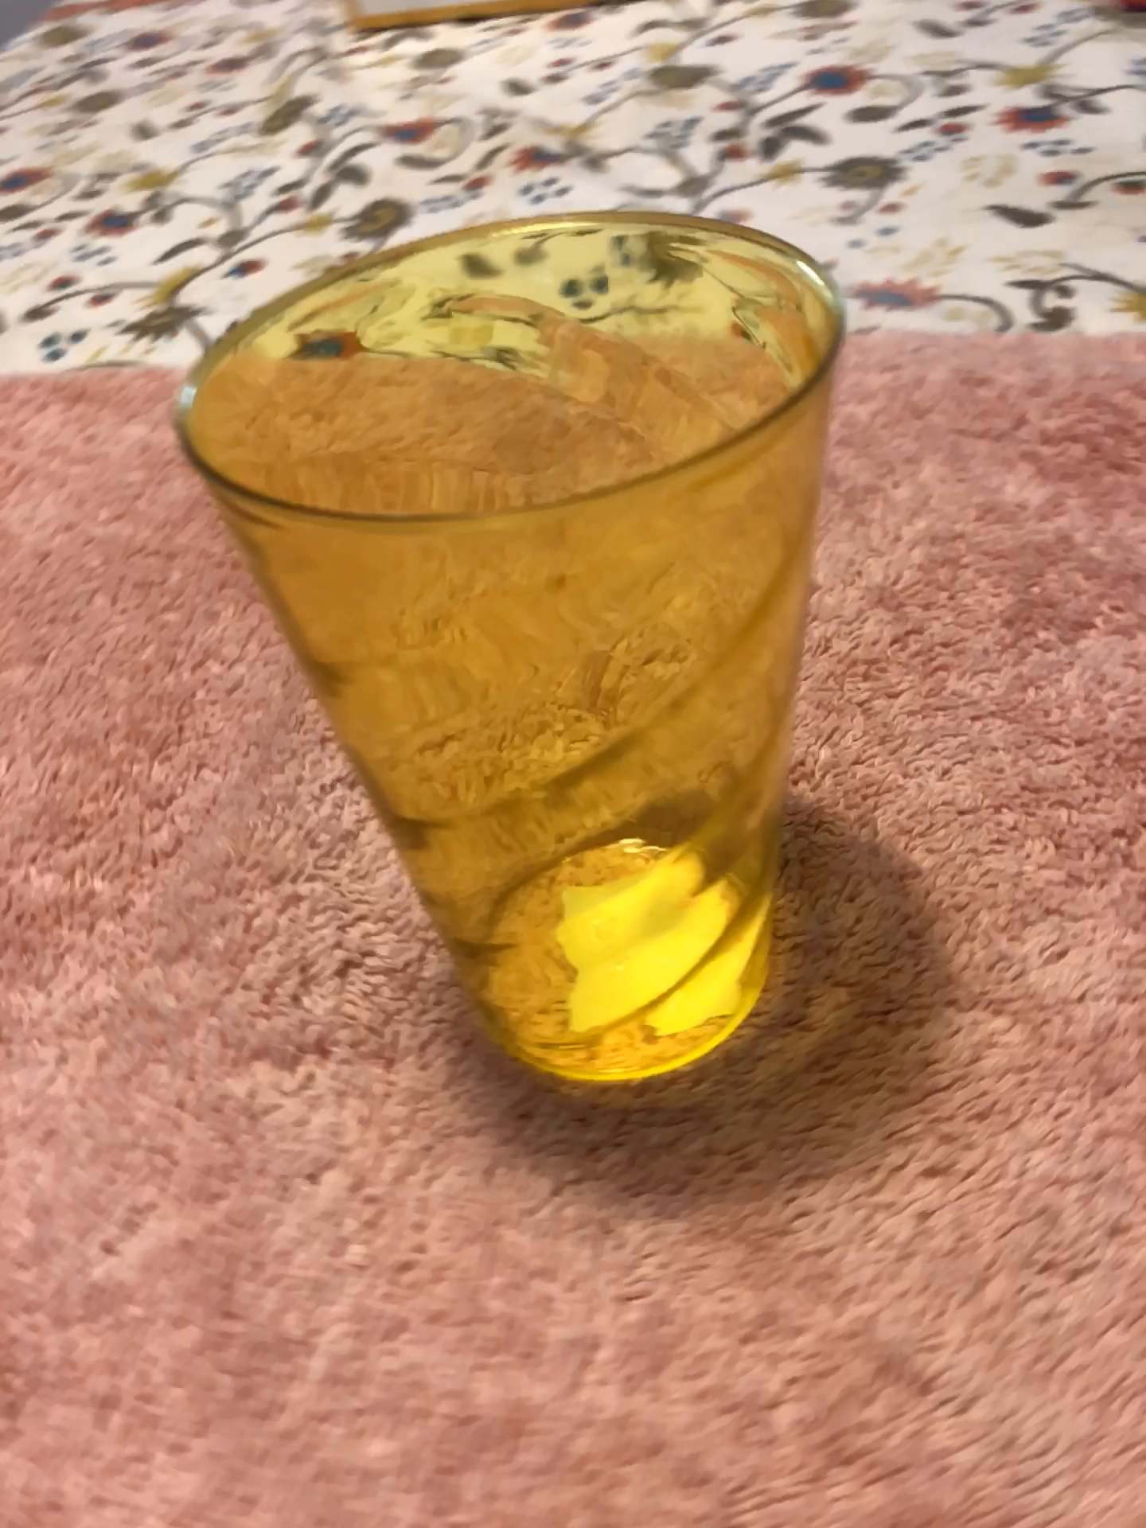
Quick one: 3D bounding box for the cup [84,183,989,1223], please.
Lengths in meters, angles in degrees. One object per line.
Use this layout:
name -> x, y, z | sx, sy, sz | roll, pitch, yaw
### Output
cup -> 0.008, -0.008, 0.189 | 0.080, 0.119, 0.080 | -6, 45, 6
